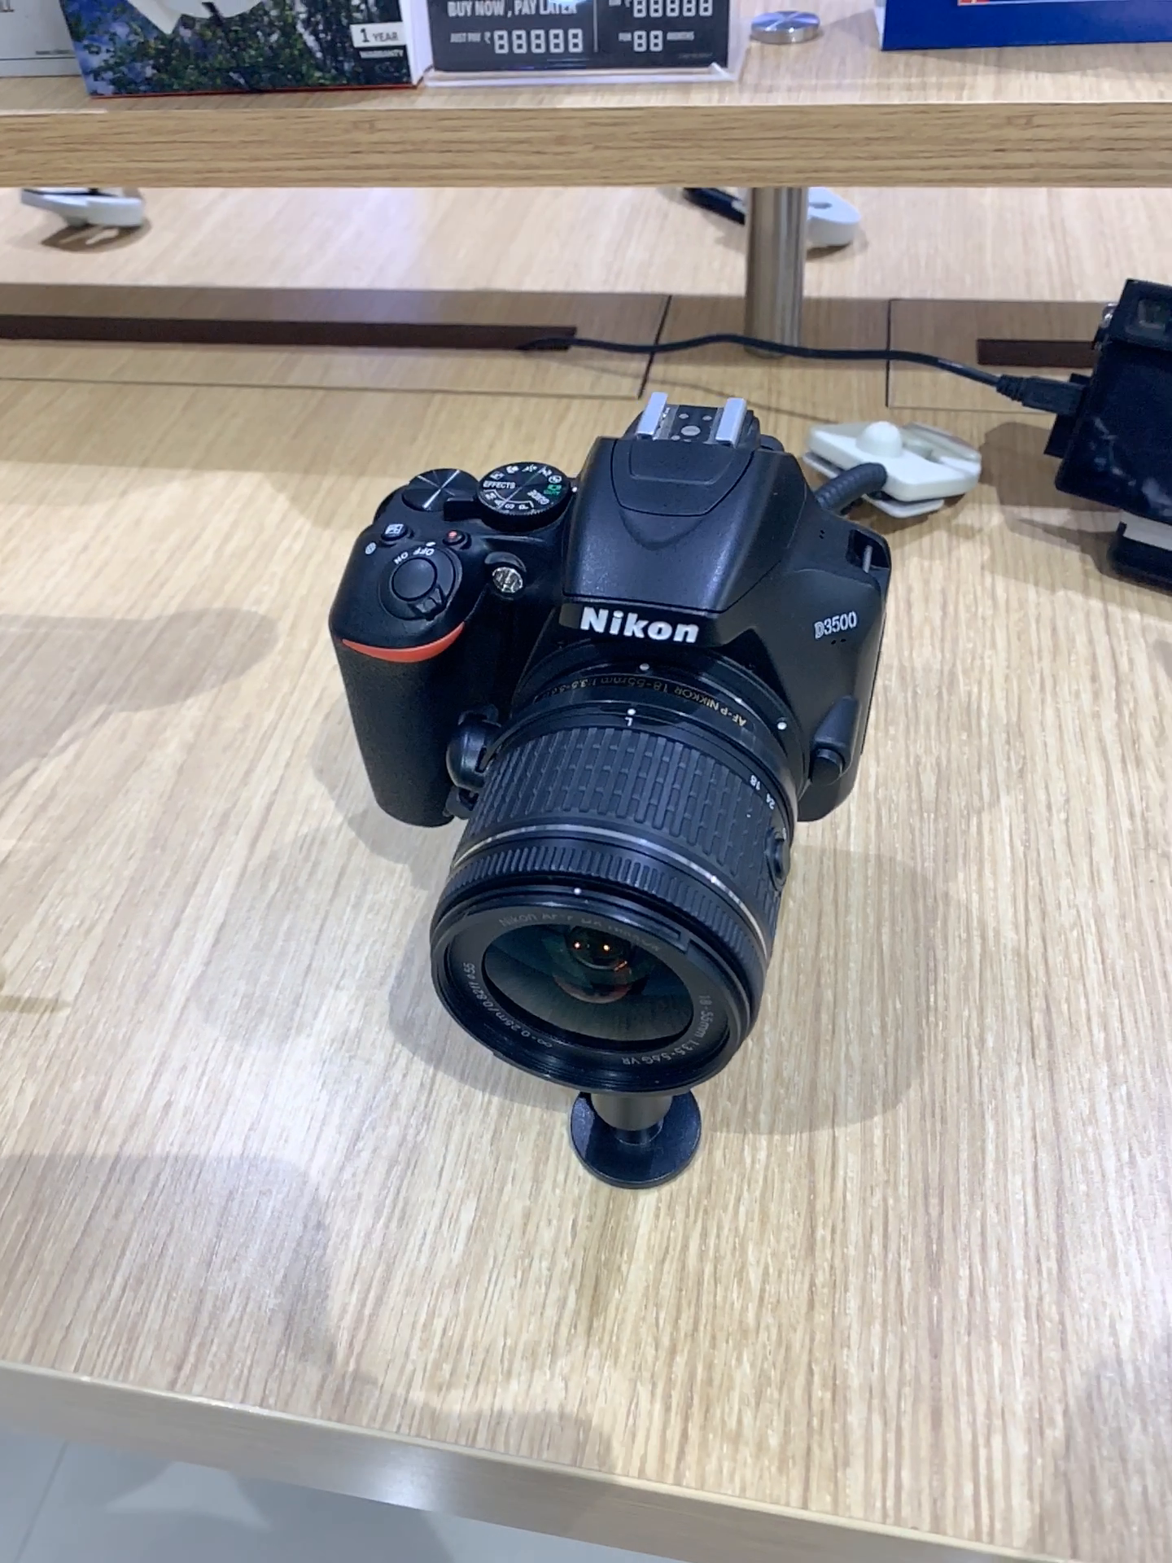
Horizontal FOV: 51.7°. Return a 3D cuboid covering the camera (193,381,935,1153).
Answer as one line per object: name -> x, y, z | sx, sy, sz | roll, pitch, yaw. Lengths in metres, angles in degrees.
camera -> 0.007, -0.007, 0.232 | 0.102, 0.091, 0.104 | 6, 47, 11
